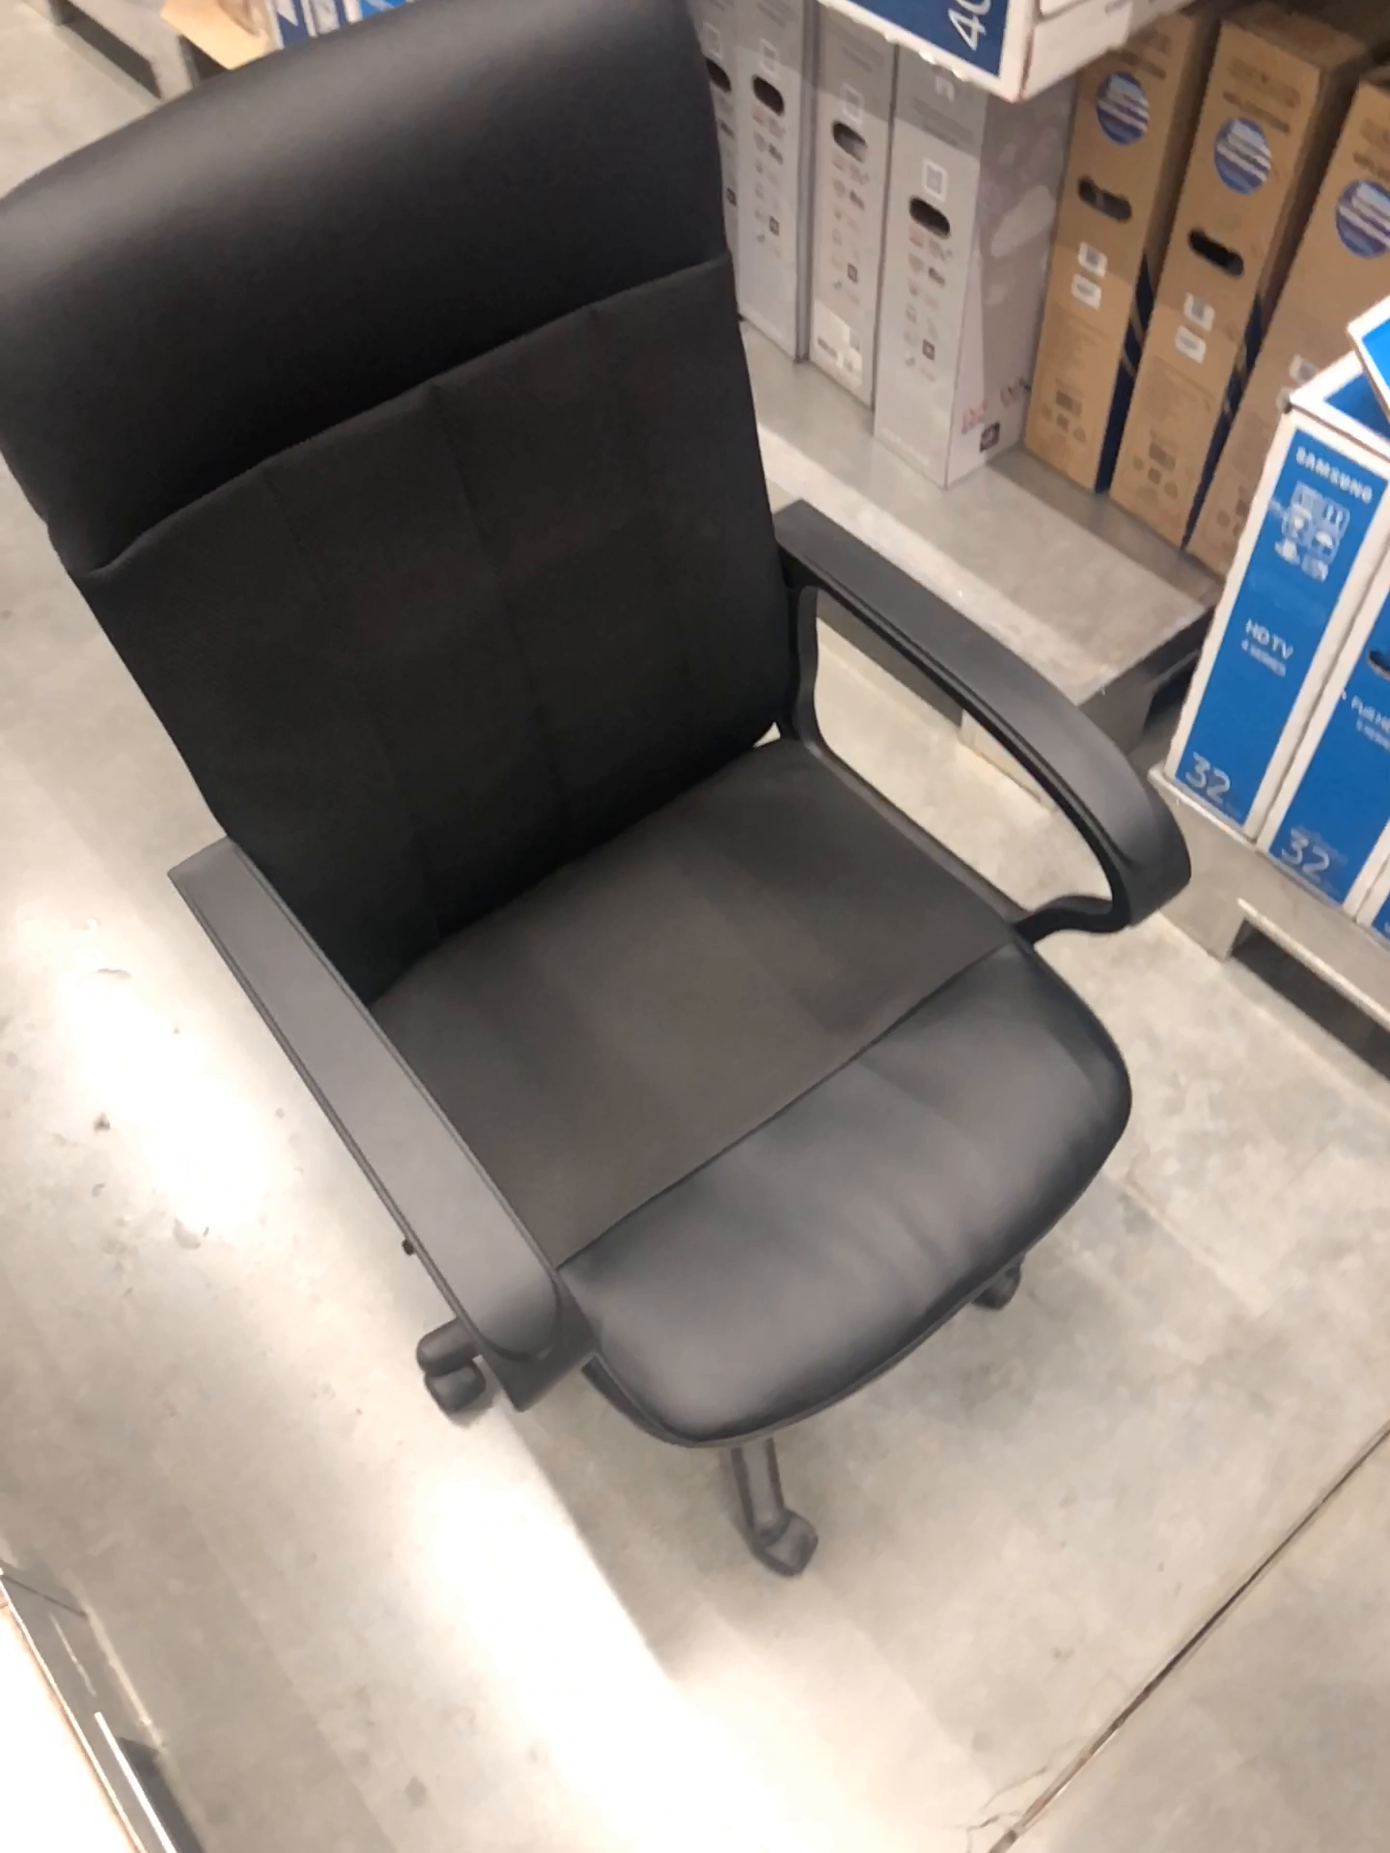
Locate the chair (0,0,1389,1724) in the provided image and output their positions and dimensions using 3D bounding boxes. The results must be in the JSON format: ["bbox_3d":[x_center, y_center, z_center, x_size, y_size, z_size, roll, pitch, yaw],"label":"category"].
[{"bbox_3d":[-0.003,0.027,1.152,0.652,1.124,0.632,-36,62,-19],"label":"chair"}]
